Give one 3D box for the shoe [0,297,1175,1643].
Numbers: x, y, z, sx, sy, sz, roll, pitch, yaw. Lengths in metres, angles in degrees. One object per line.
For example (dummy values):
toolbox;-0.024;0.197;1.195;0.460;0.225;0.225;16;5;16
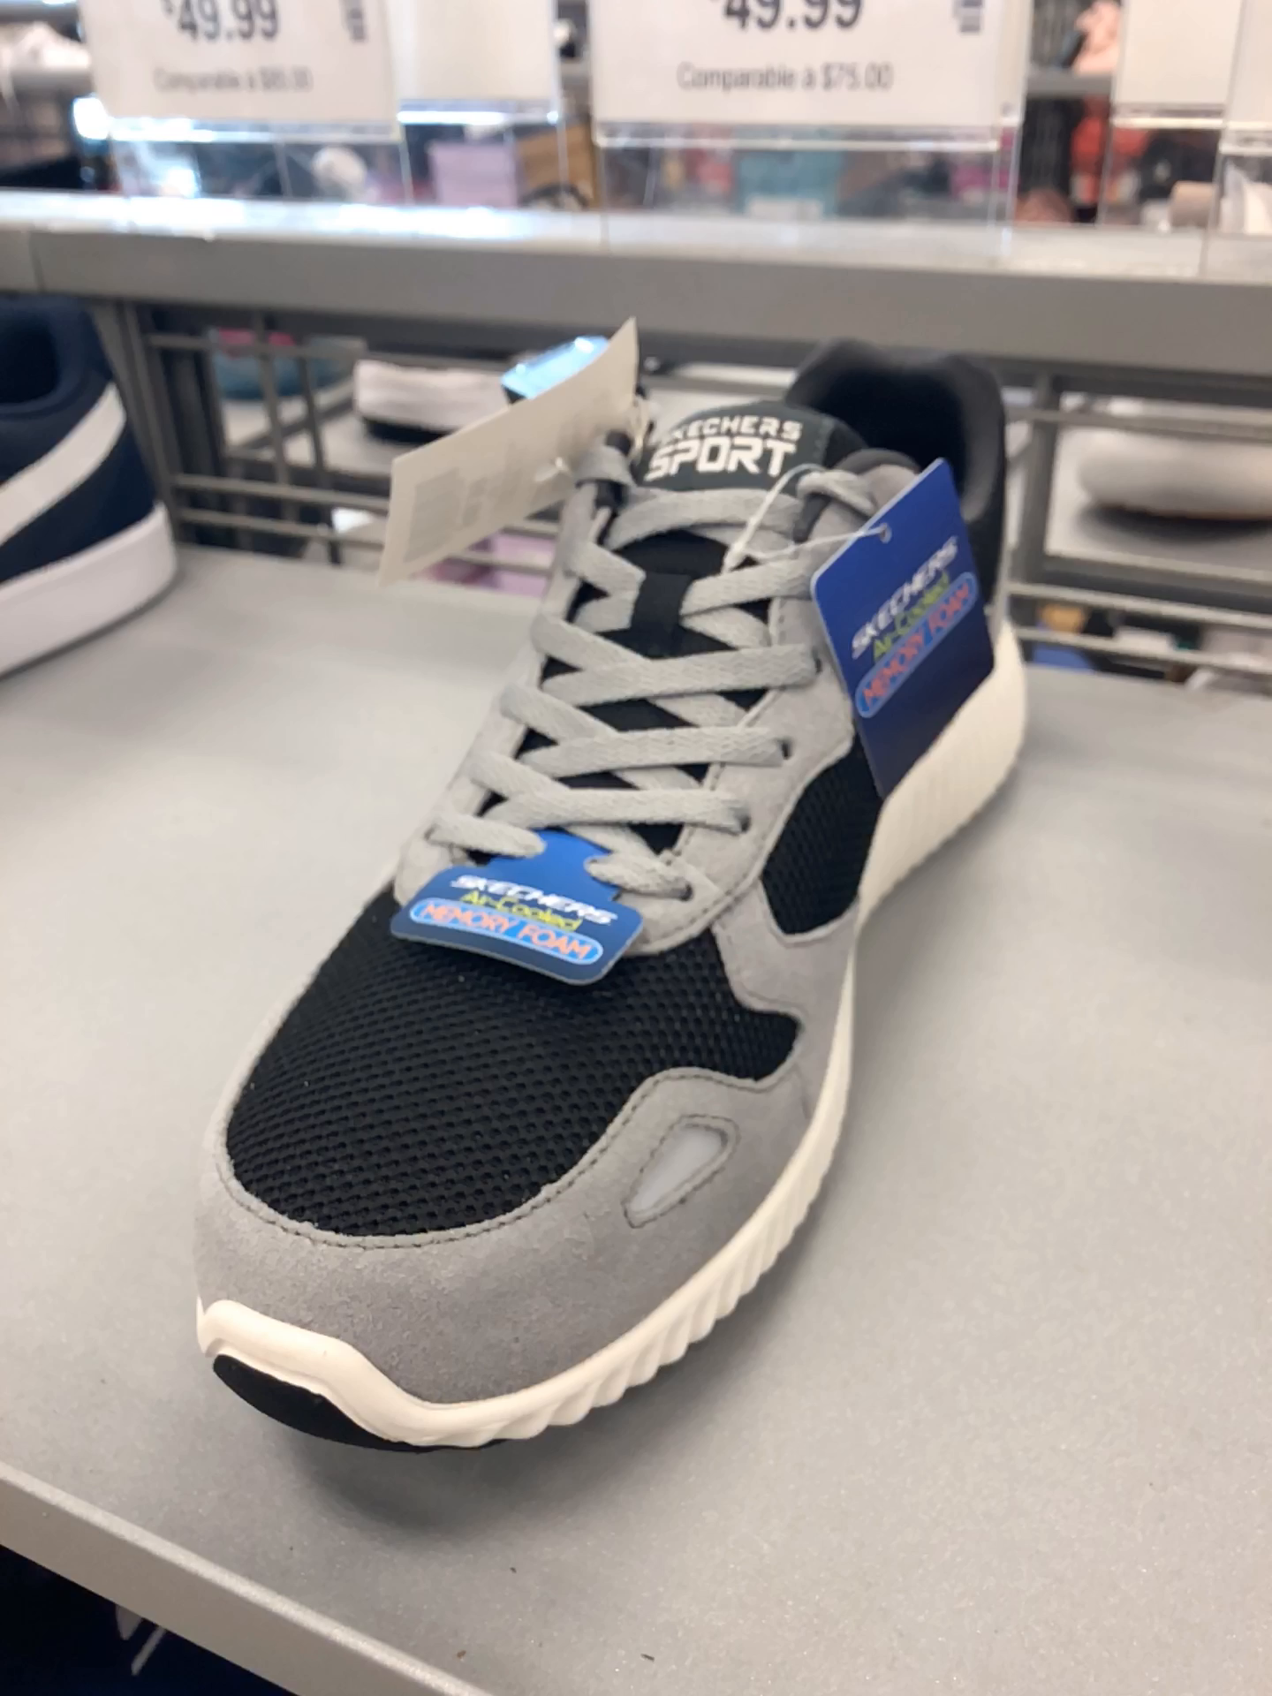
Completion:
shoe;0.013;-0.022;0.312;0.120;0.119;0.302;15;37;25
